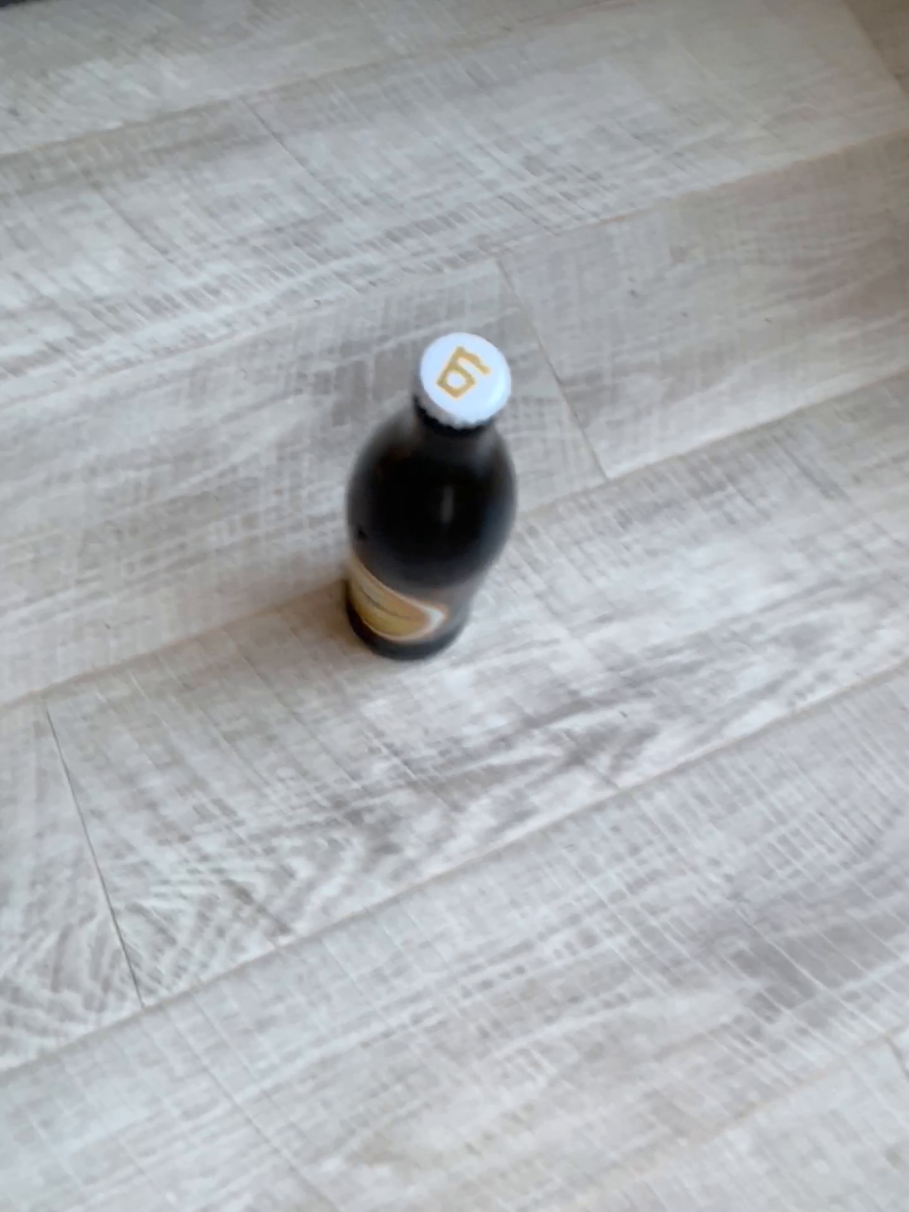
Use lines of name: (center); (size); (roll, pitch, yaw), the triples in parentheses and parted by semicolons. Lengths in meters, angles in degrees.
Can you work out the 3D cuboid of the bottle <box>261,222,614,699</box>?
bottle: (-0.017, -0.033, 0.364); (0.070, 0.230, 0.070); (2, 73, -6)
